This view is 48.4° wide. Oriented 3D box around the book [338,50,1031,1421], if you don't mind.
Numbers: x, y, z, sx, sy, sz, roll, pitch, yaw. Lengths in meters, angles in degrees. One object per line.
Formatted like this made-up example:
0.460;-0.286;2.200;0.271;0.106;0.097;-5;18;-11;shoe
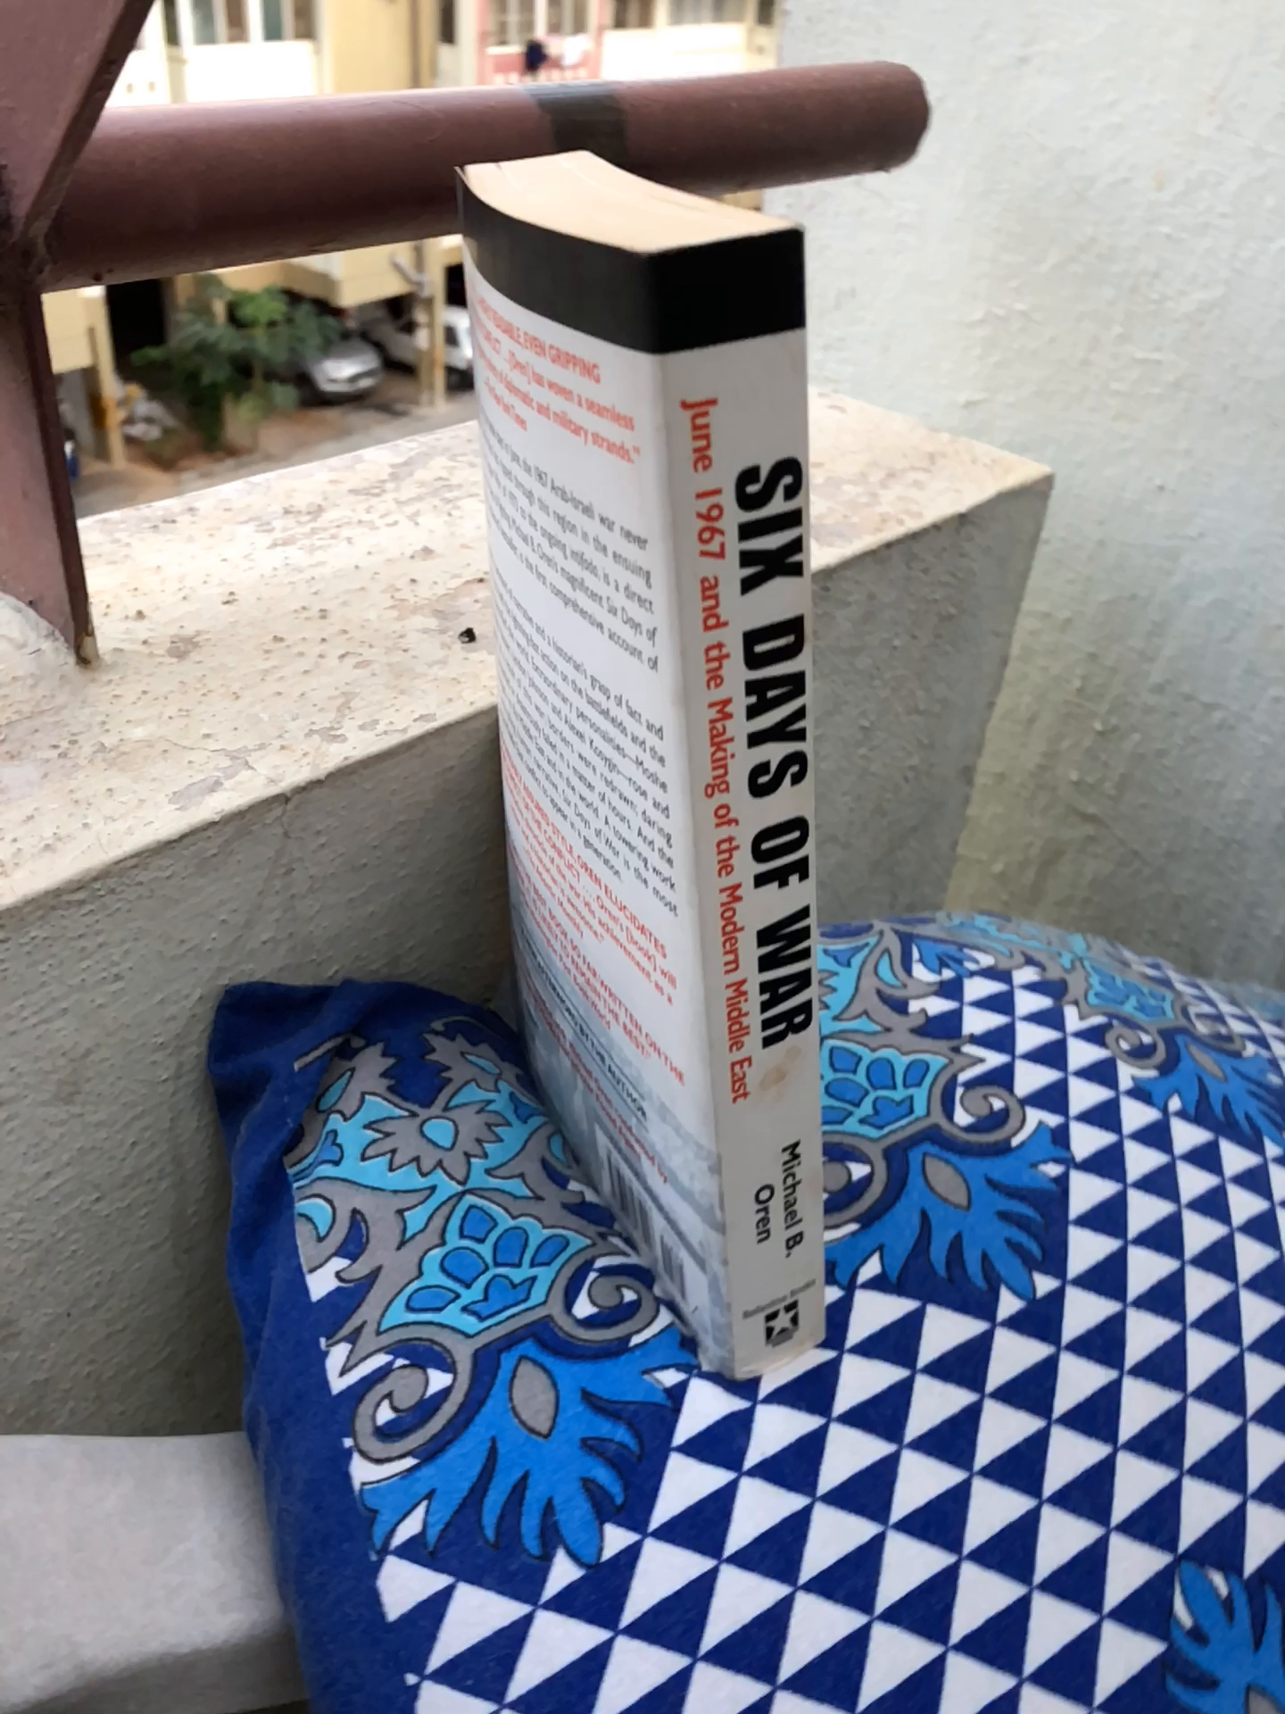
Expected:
-0.006;-0.030;0.324;0.050;0.249;0.181;-15;37;-19;book
